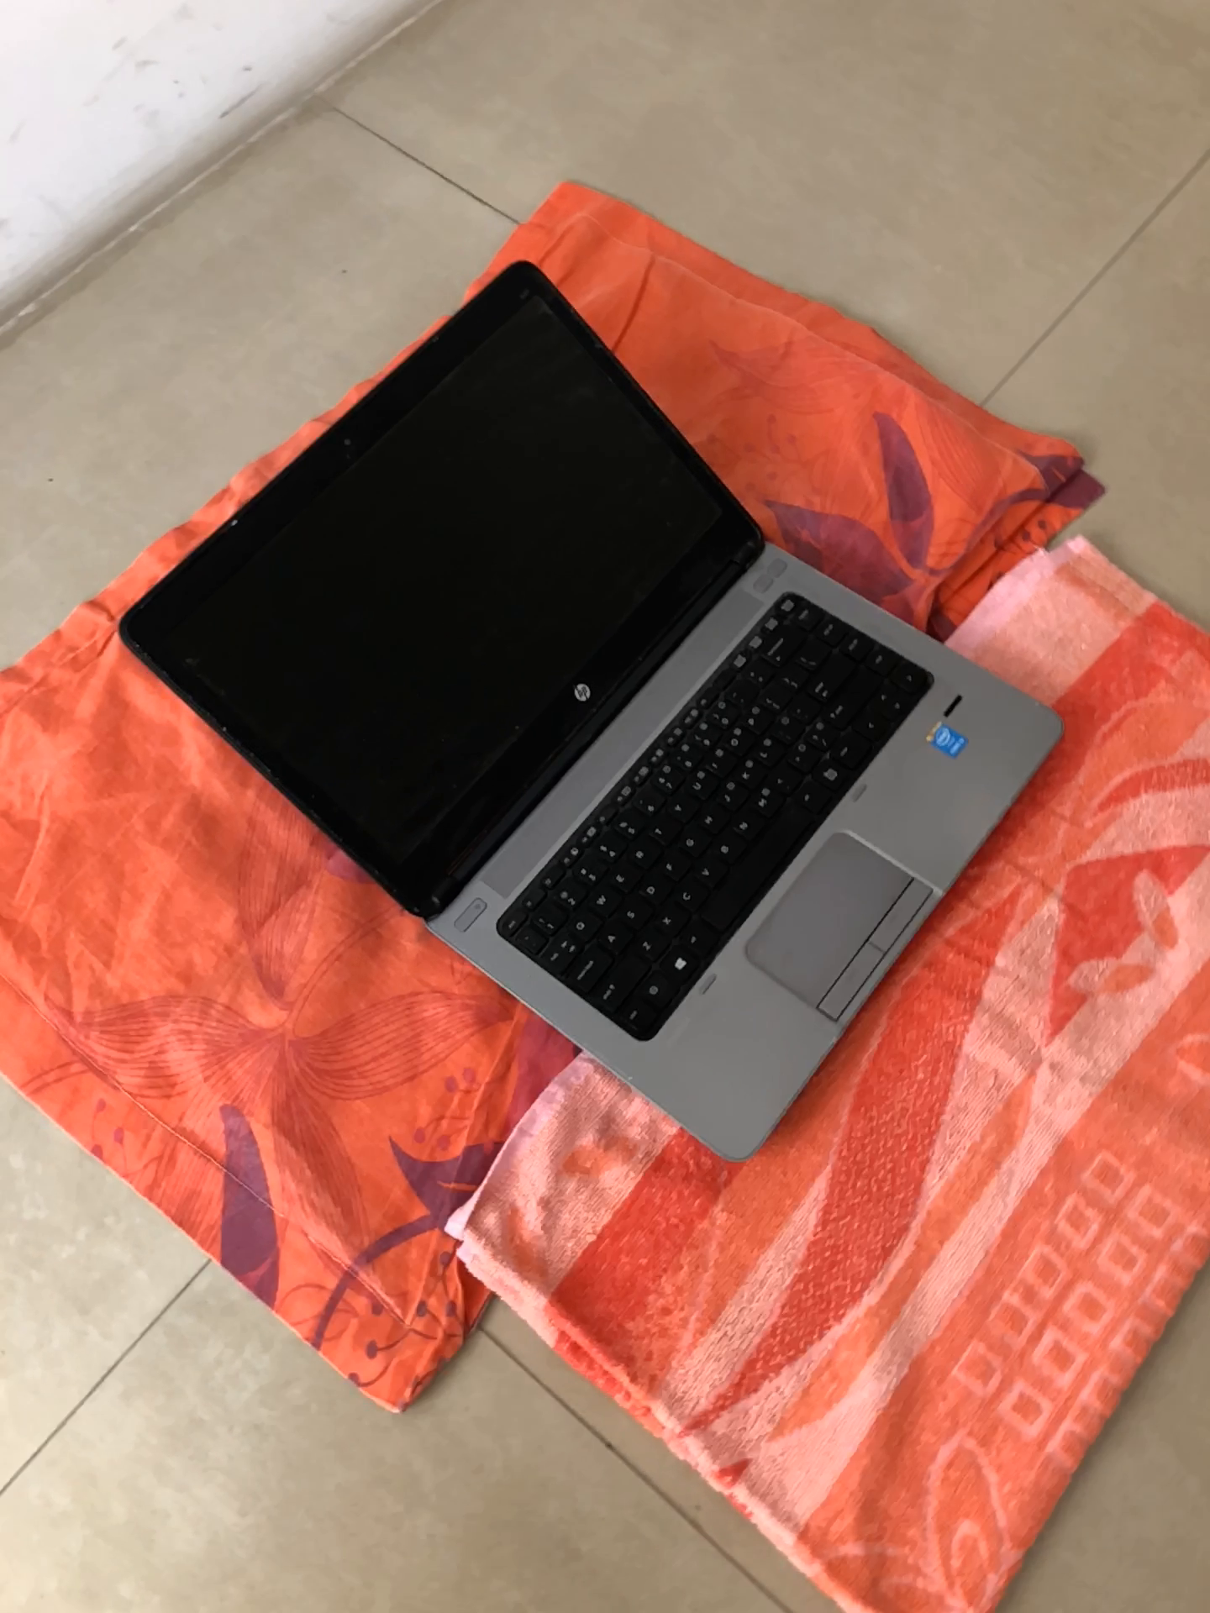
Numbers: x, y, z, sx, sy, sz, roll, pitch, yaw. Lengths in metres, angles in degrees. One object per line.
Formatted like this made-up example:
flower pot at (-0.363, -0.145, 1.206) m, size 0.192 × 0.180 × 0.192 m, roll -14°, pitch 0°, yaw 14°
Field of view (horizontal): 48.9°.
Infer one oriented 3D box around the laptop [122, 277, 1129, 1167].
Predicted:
laptop at (0.009, -0.068, 0.743) m, size 0.410 × 0.111 × 0.329 m, roll 35°, pitch 70°, yaw 17°
